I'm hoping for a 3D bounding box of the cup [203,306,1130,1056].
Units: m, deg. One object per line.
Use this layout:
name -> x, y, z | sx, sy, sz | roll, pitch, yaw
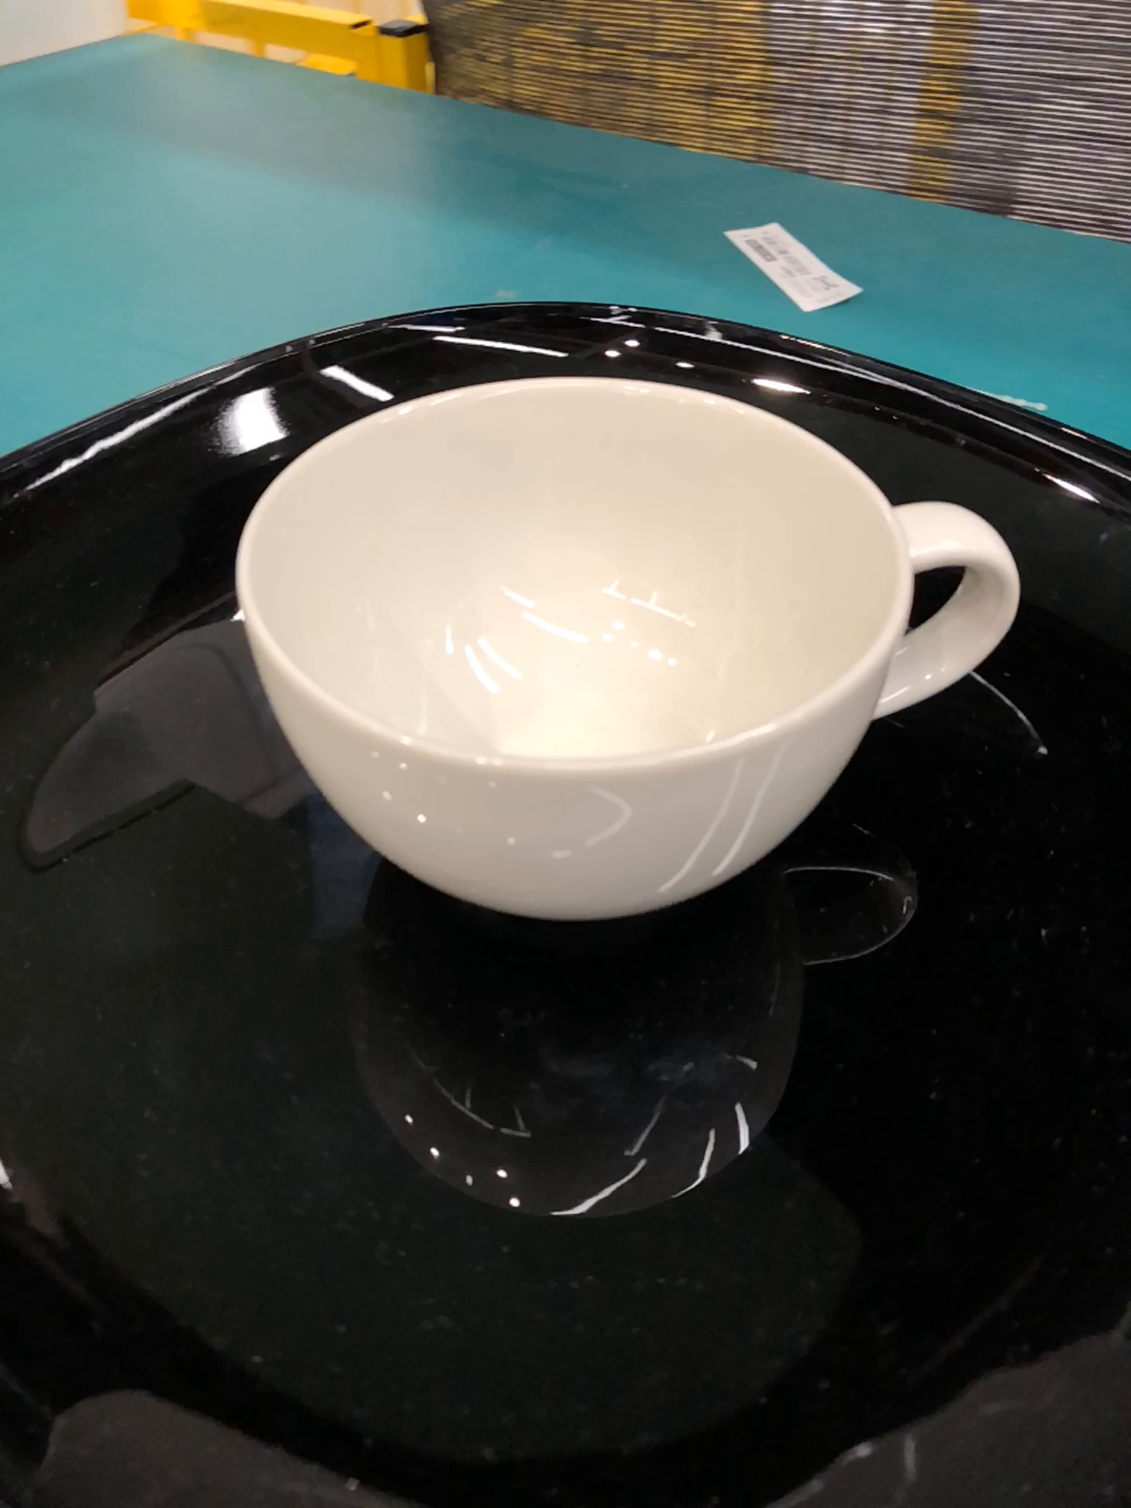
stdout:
cup -> 0.016, -0.024, 0.210 | 0.130, 0.040, 0.110 | -15, 43, -13
